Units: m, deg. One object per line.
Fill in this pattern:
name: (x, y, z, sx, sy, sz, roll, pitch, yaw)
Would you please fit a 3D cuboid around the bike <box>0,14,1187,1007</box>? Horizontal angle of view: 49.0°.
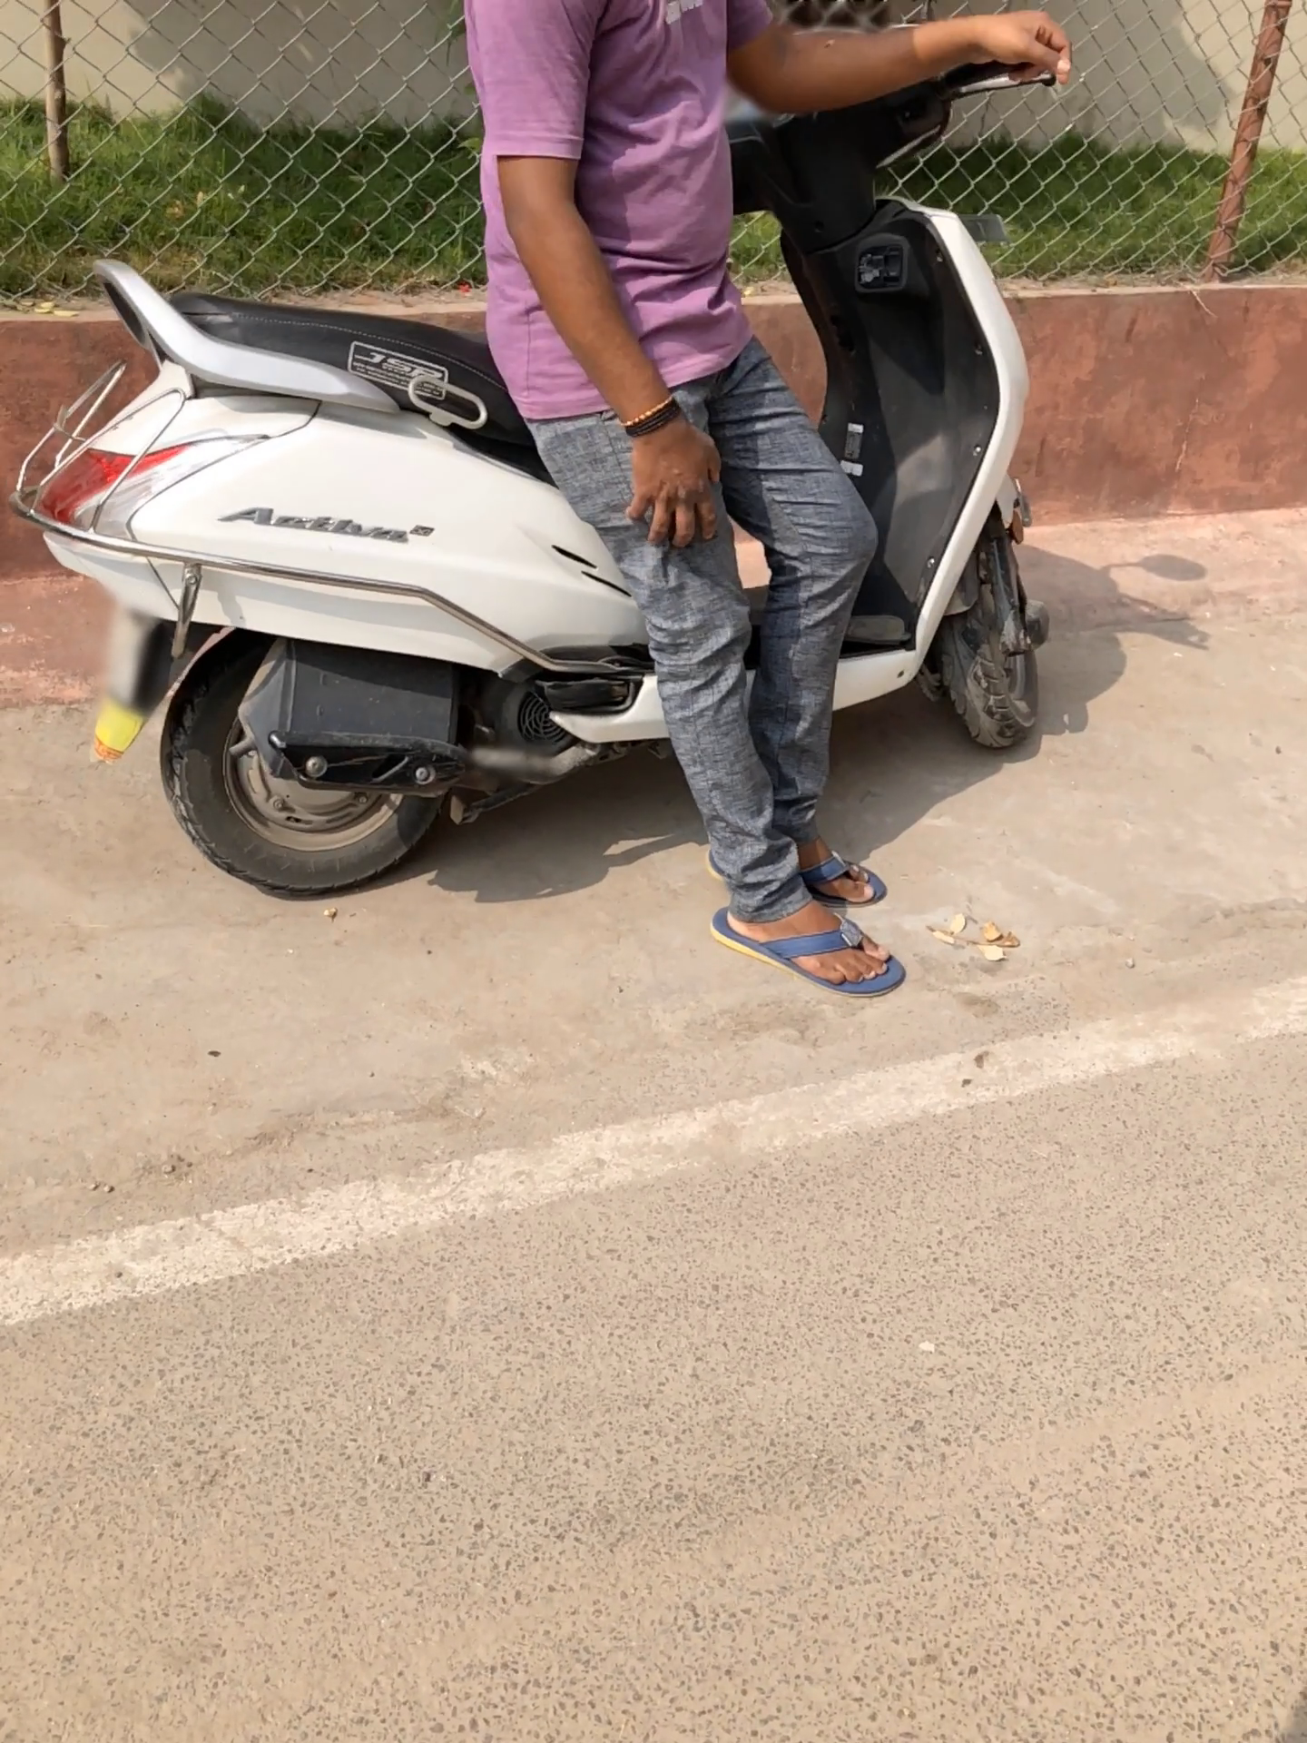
bike: (-0.056, -0.651, 2.234, 1.556, 1.112, 0.620, -18, 41, -27)
